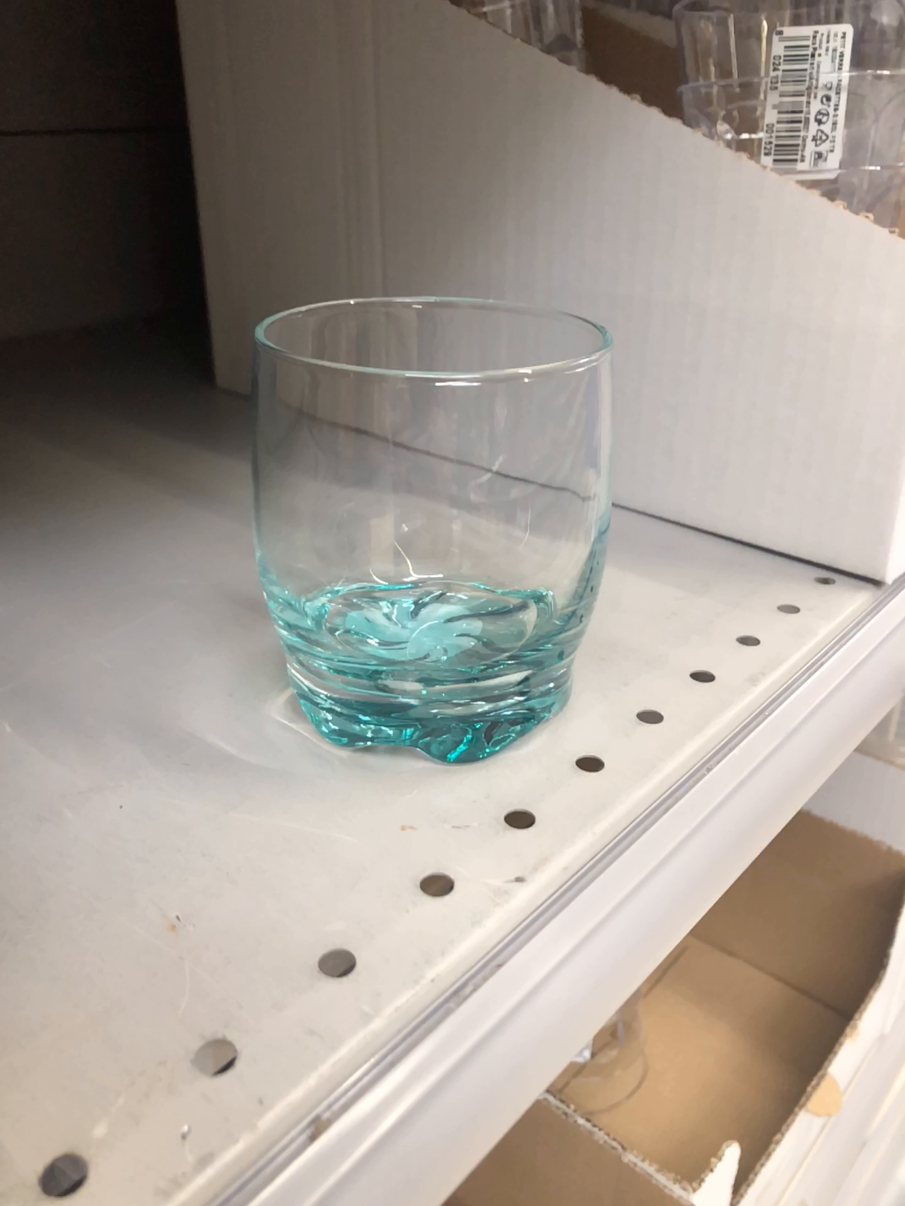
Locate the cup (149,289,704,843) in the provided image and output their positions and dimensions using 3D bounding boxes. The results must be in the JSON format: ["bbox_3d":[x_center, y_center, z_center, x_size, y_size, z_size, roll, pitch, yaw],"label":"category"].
[{"bbox_3d":[-0.006,-0.017,0.219,0.083,0.082,0.074,-21,34,-39],"label":"cup"}]
